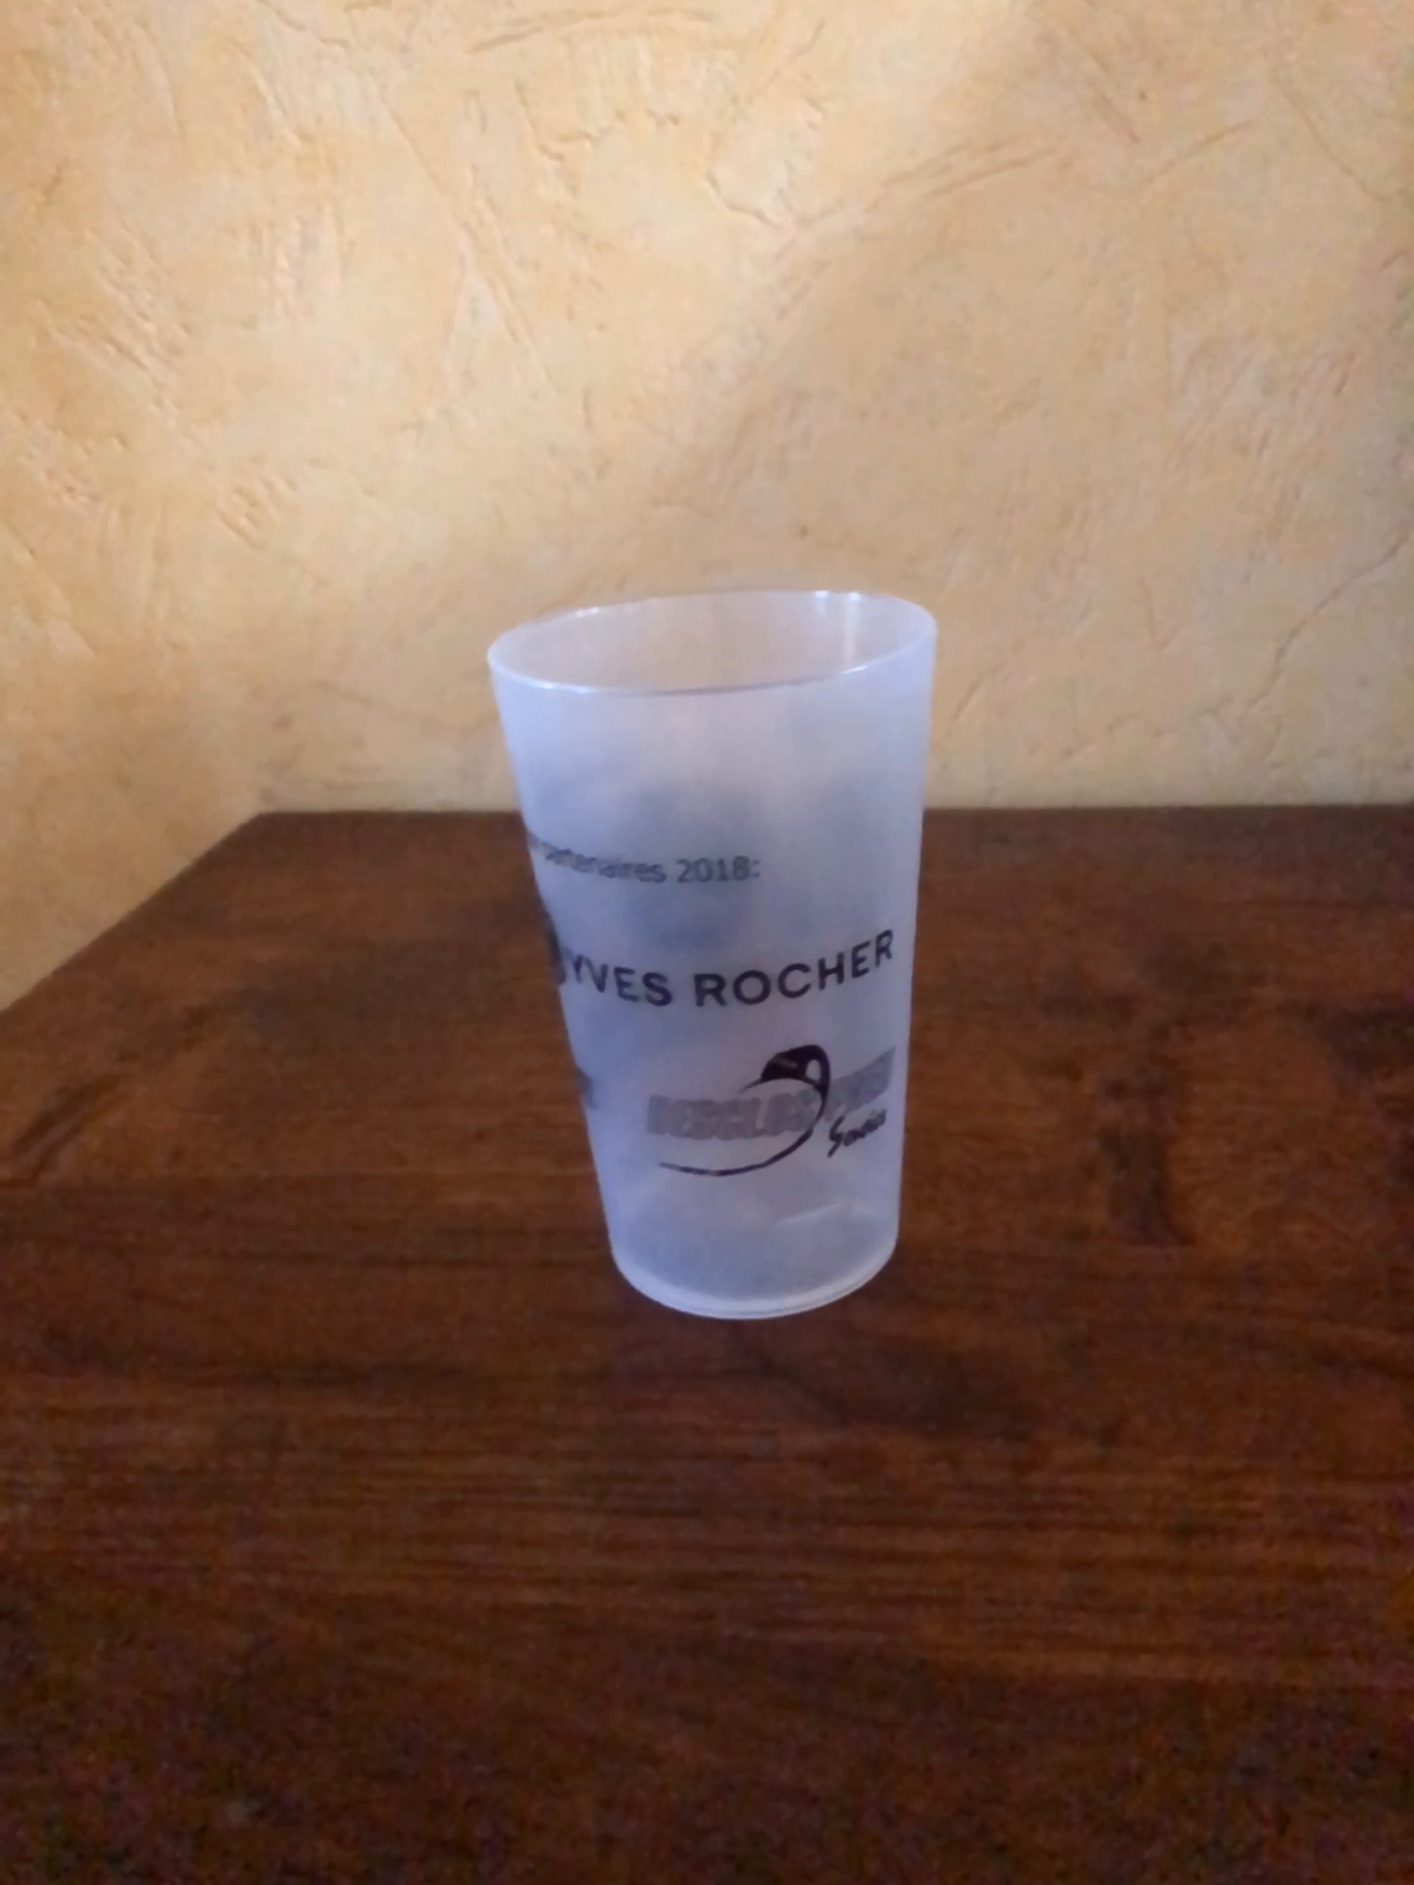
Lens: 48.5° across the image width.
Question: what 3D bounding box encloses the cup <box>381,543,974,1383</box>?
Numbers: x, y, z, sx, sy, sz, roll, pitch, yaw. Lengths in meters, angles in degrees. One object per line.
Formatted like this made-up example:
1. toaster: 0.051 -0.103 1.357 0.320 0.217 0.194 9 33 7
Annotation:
1. cup: 0.002 -0.001 0.271 0.070 0.119 0.070 -4 24 2
